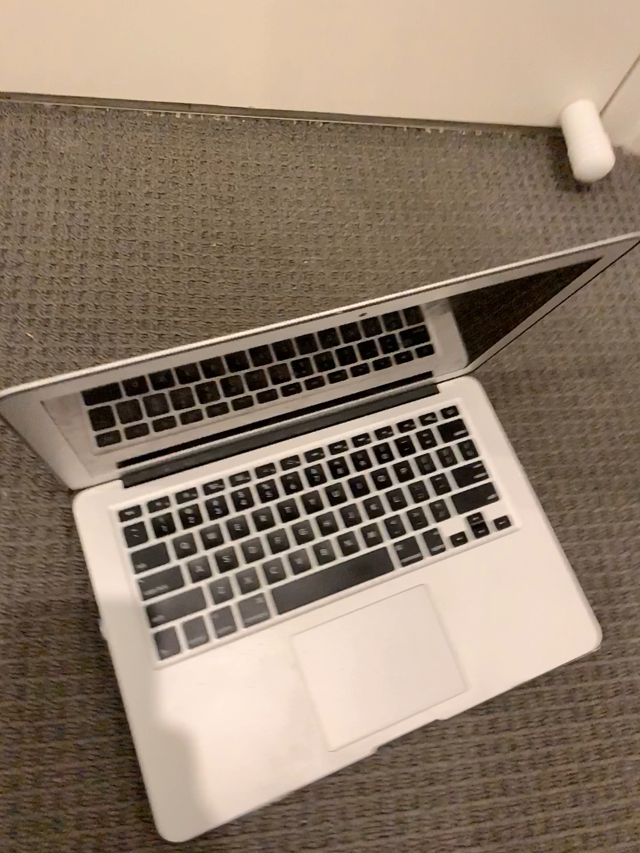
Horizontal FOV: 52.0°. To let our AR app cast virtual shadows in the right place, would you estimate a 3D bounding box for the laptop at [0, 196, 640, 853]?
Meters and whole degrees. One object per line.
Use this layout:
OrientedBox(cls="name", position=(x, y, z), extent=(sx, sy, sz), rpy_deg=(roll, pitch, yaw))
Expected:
OrientedBox(cls="laptop", position=(0.032, 0.064, 0.368), extent=(0.322, 0.215, 0.226), rpy_deg=(-17, 73, -16))
